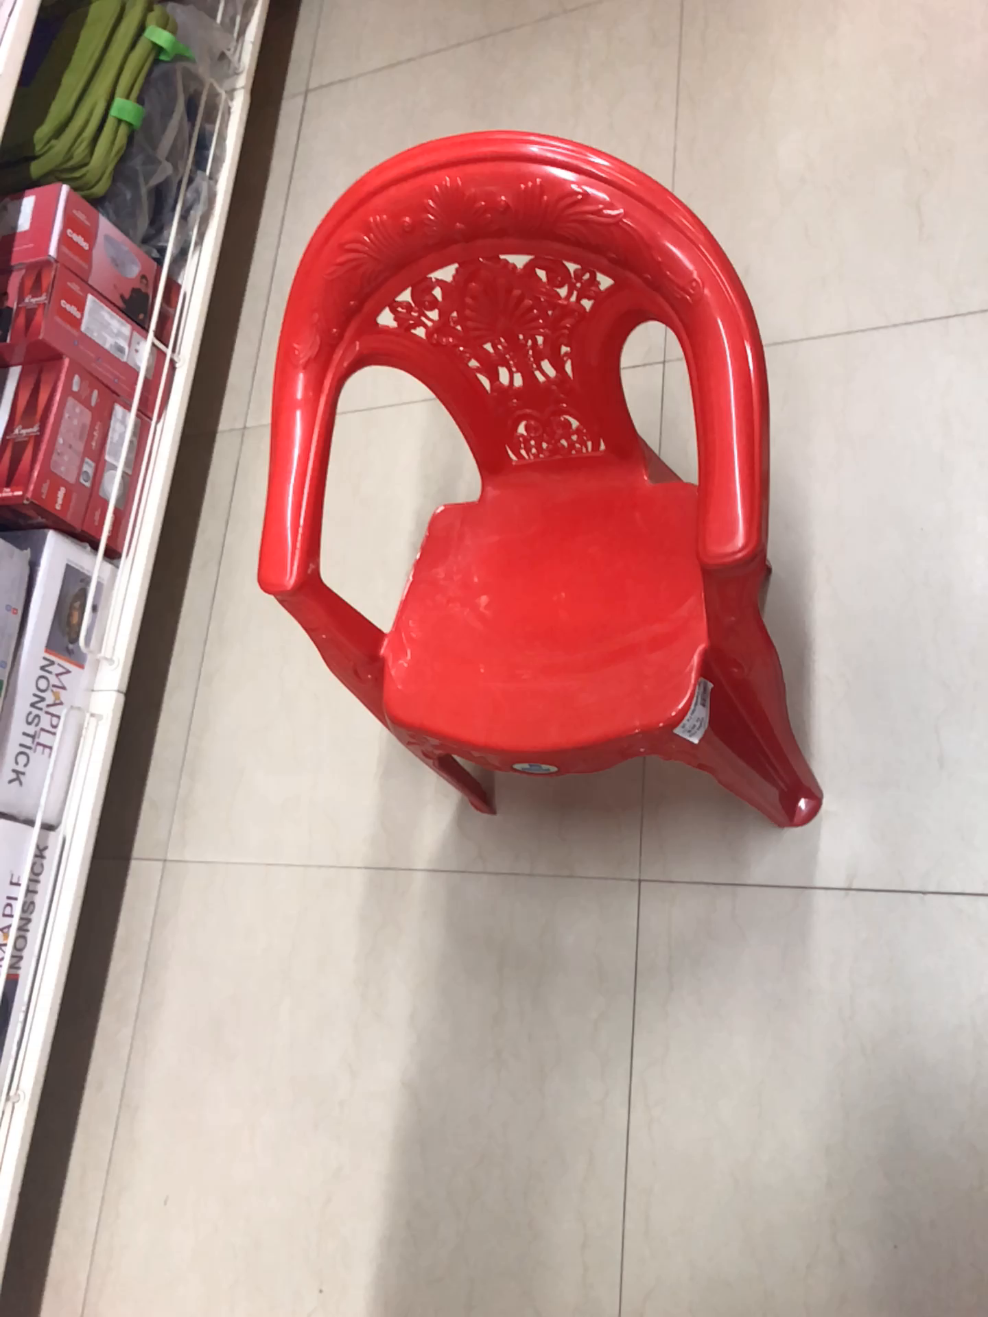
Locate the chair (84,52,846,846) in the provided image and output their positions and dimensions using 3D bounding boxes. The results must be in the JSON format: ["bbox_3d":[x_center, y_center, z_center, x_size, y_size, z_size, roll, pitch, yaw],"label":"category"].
[{"bbox_3d":[0.044,-0.088,0.869,0.391,0.508,0.371,-2,70,25],"label":"chair"}]
